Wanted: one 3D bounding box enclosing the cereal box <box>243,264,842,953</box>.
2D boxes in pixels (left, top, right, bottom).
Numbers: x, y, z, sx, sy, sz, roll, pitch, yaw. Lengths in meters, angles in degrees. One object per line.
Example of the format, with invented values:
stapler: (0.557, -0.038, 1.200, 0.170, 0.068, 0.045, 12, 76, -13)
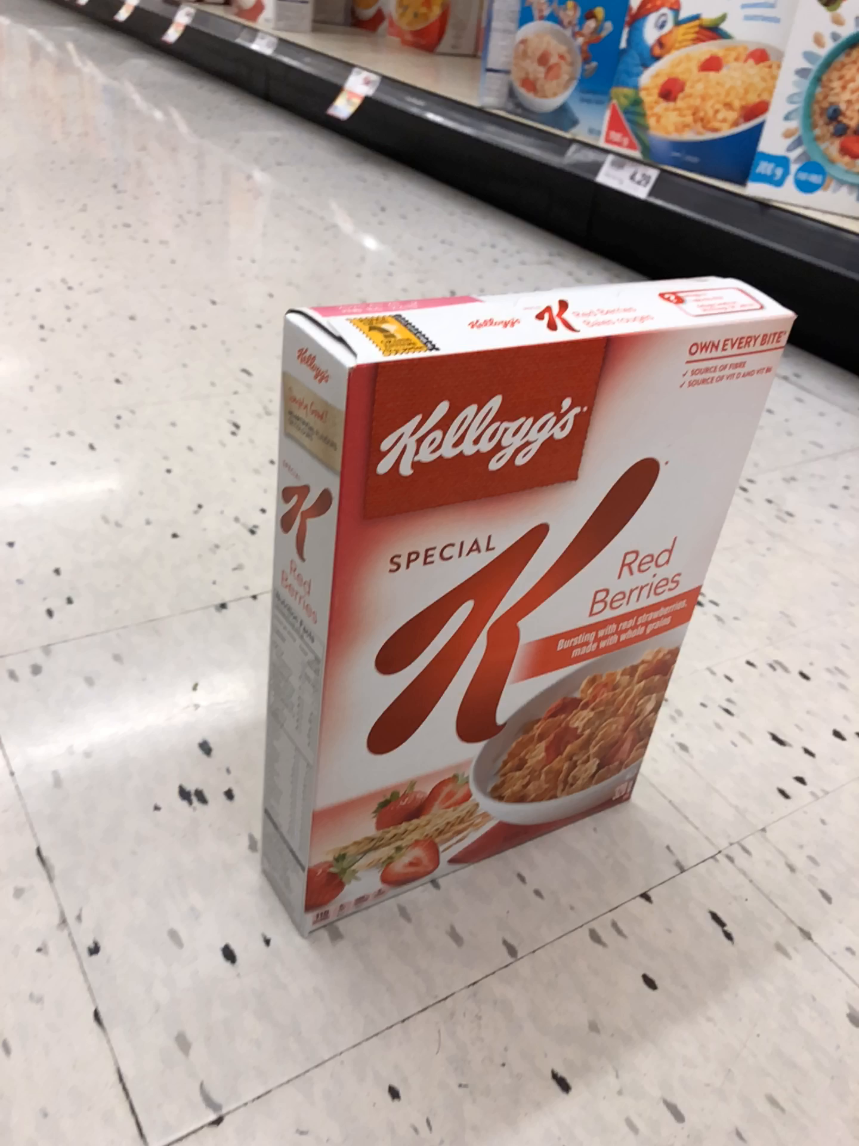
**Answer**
cereal box: (0.035, 0.014, 0.398, 0.210, 0.258, 0.060, -13, 38, -29)
